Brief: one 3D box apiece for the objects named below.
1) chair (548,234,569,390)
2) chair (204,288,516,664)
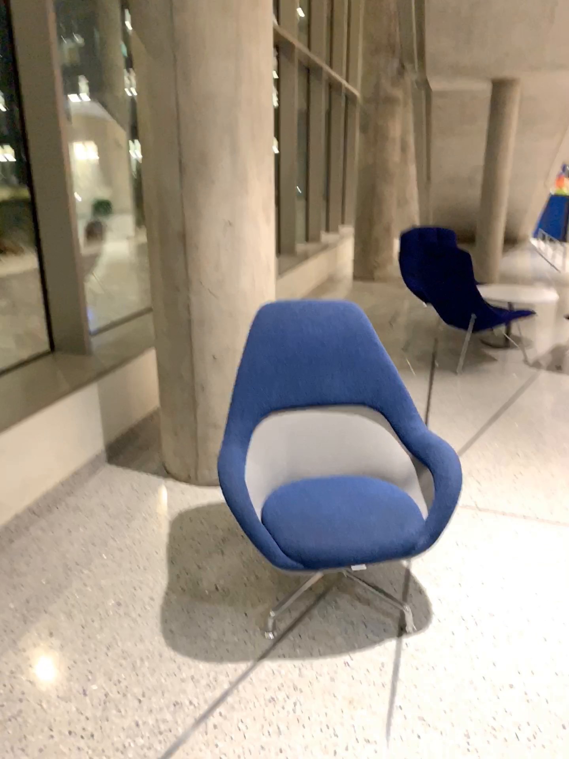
[{"bbox_3d":[2.578,-0.559,4.352,0.783,0.919,0.887,15,24,37],"label":"chair"},{"bbox_3d":[0.171,0.259,1.960,0.814,0.998,0.635,-3,19,-9],"label":"chair"}]
